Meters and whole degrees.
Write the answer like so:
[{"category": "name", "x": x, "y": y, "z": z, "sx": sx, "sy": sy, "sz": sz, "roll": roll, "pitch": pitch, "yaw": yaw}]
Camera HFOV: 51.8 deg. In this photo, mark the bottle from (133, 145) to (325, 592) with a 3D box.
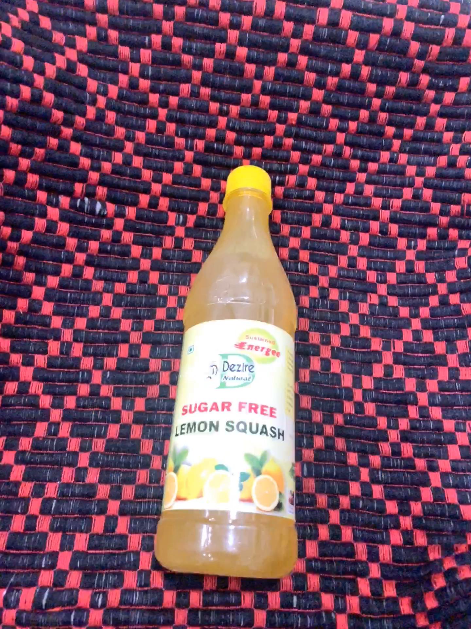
[{"category": "bottle", "x": 0.001, "y": 0.014, "z": 0.262, "sx": 0.070, "sy": 0.060, "sz": 0.230, "roll": 7, "pitch": 58, "yaw": -5}]
